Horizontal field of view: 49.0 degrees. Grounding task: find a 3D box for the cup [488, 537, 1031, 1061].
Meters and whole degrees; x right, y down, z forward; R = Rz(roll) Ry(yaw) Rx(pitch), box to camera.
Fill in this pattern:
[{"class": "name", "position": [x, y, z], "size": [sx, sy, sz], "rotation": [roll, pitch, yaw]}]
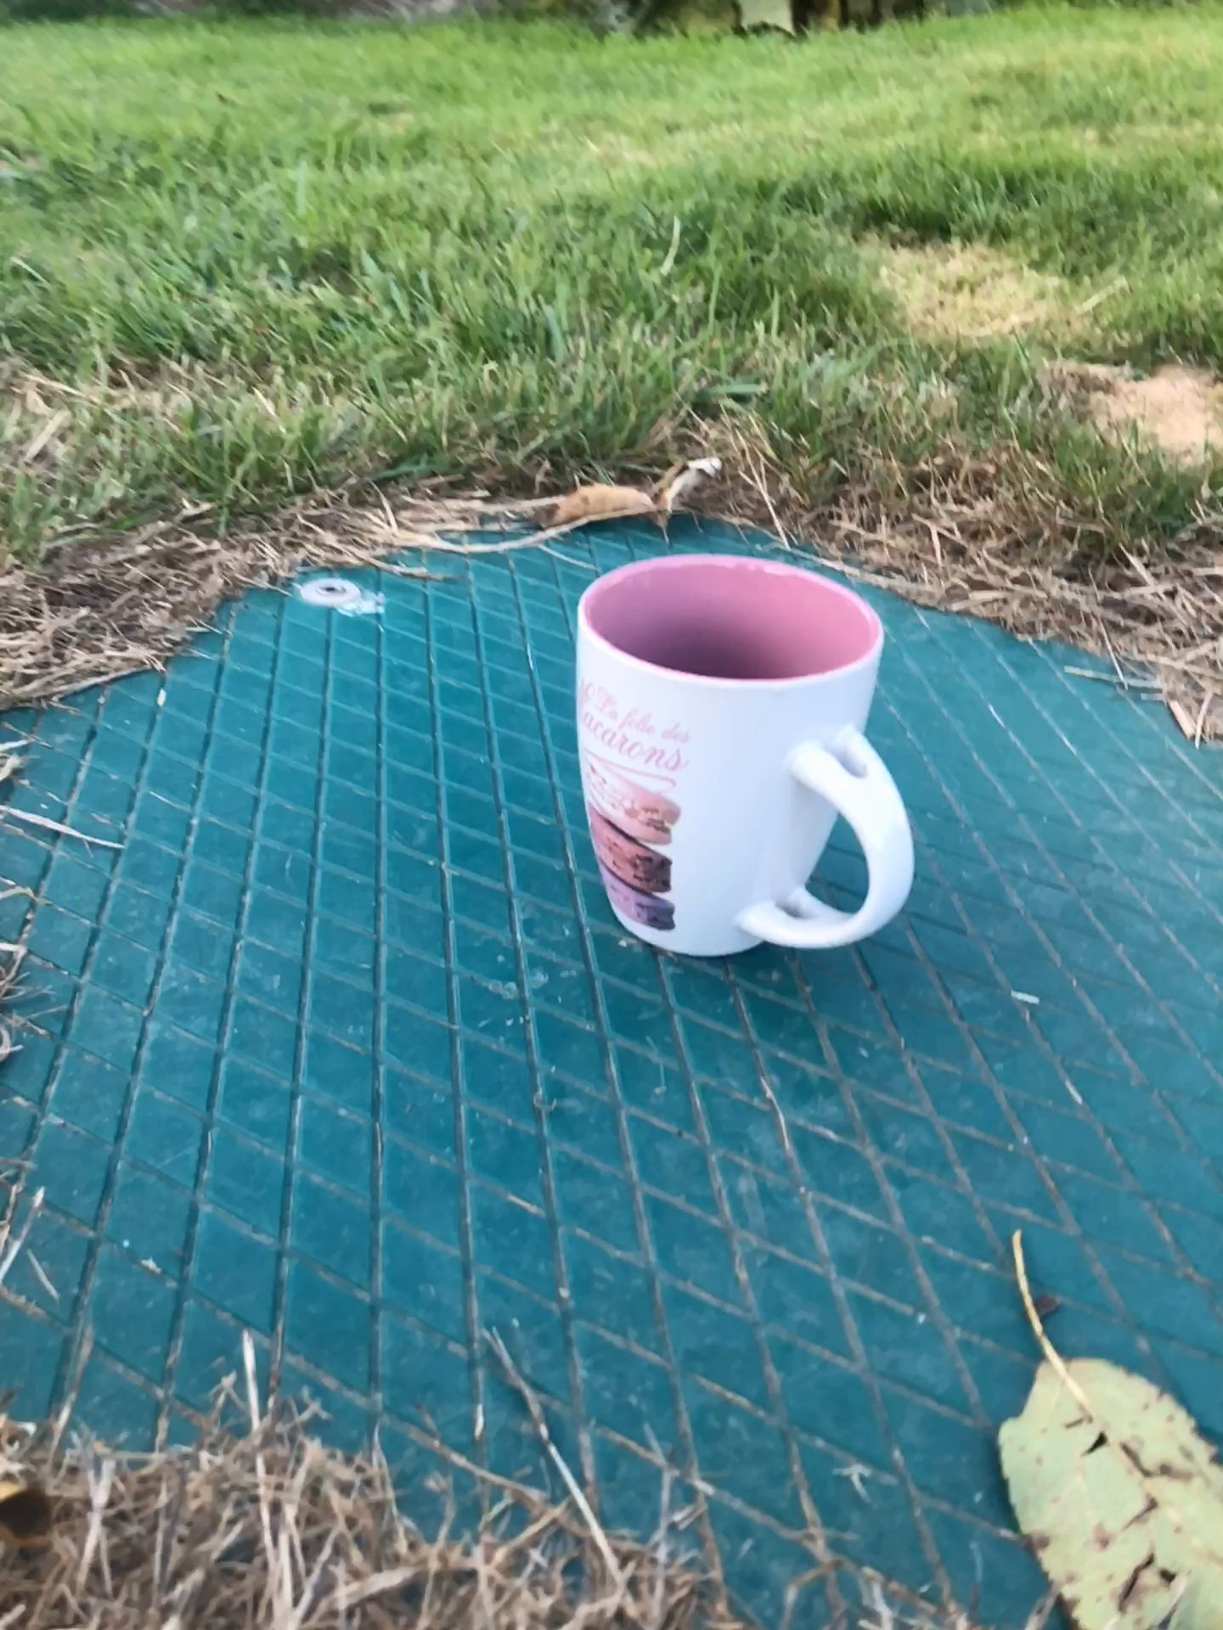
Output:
[{"class": "cup", "position": [0.038, -0.013, 0.401], "size": [0.095, 0.091, 0.121], "rotation": [-22, 39, -35]}]
